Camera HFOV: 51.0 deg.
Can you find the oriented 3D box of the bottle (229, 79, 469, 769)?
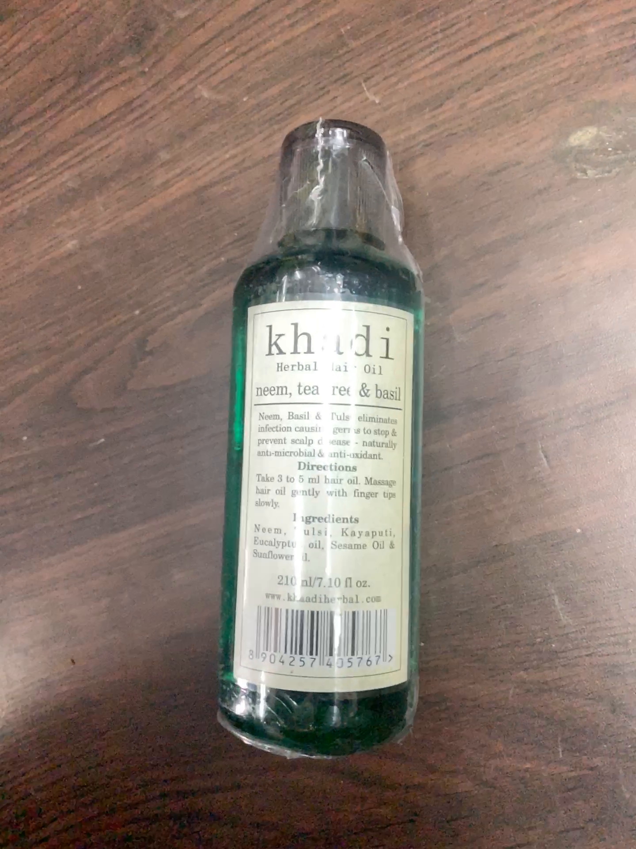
[{"bbox_3d":[0.006,0.000,0.173,0.050,0.050,0.150,2,85,-9],"label":"bottle"}]
